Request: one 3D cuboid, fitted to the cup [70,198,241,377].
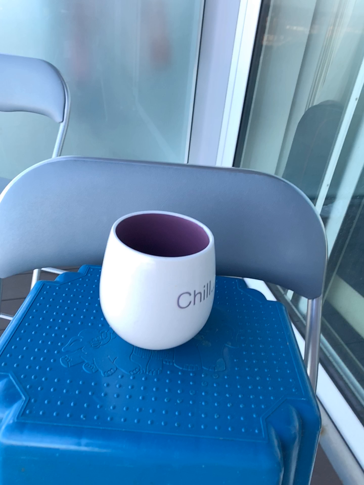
[{"bbox_3d":[-0.023,0.031,0.346,0.105,0.090,0.111,6,29,-4],"label":"cup"}]
